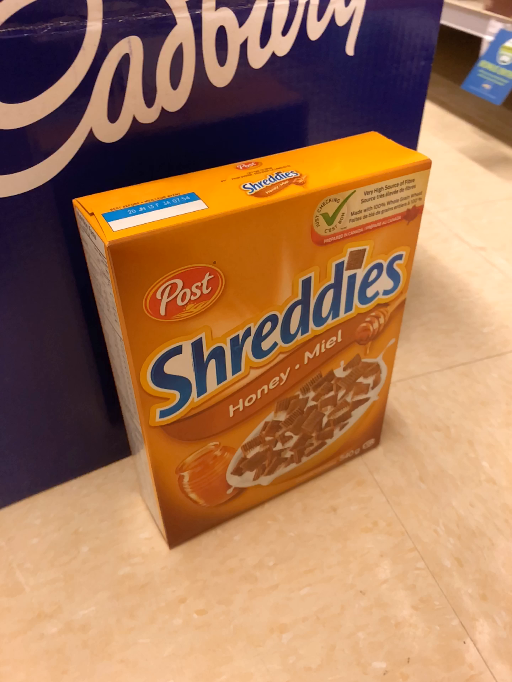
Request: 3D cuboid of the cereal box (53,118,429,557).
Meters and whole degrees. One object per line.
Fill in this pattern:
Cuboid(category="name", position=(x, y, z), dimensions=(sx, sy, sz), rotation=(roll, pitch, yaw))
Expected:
Cuboid(category="cereal box", position=(-0.002, 0.007, 0.416), dimensions=(0.210, 0.278, 0.070), rotation=(-21, 44, -22))
